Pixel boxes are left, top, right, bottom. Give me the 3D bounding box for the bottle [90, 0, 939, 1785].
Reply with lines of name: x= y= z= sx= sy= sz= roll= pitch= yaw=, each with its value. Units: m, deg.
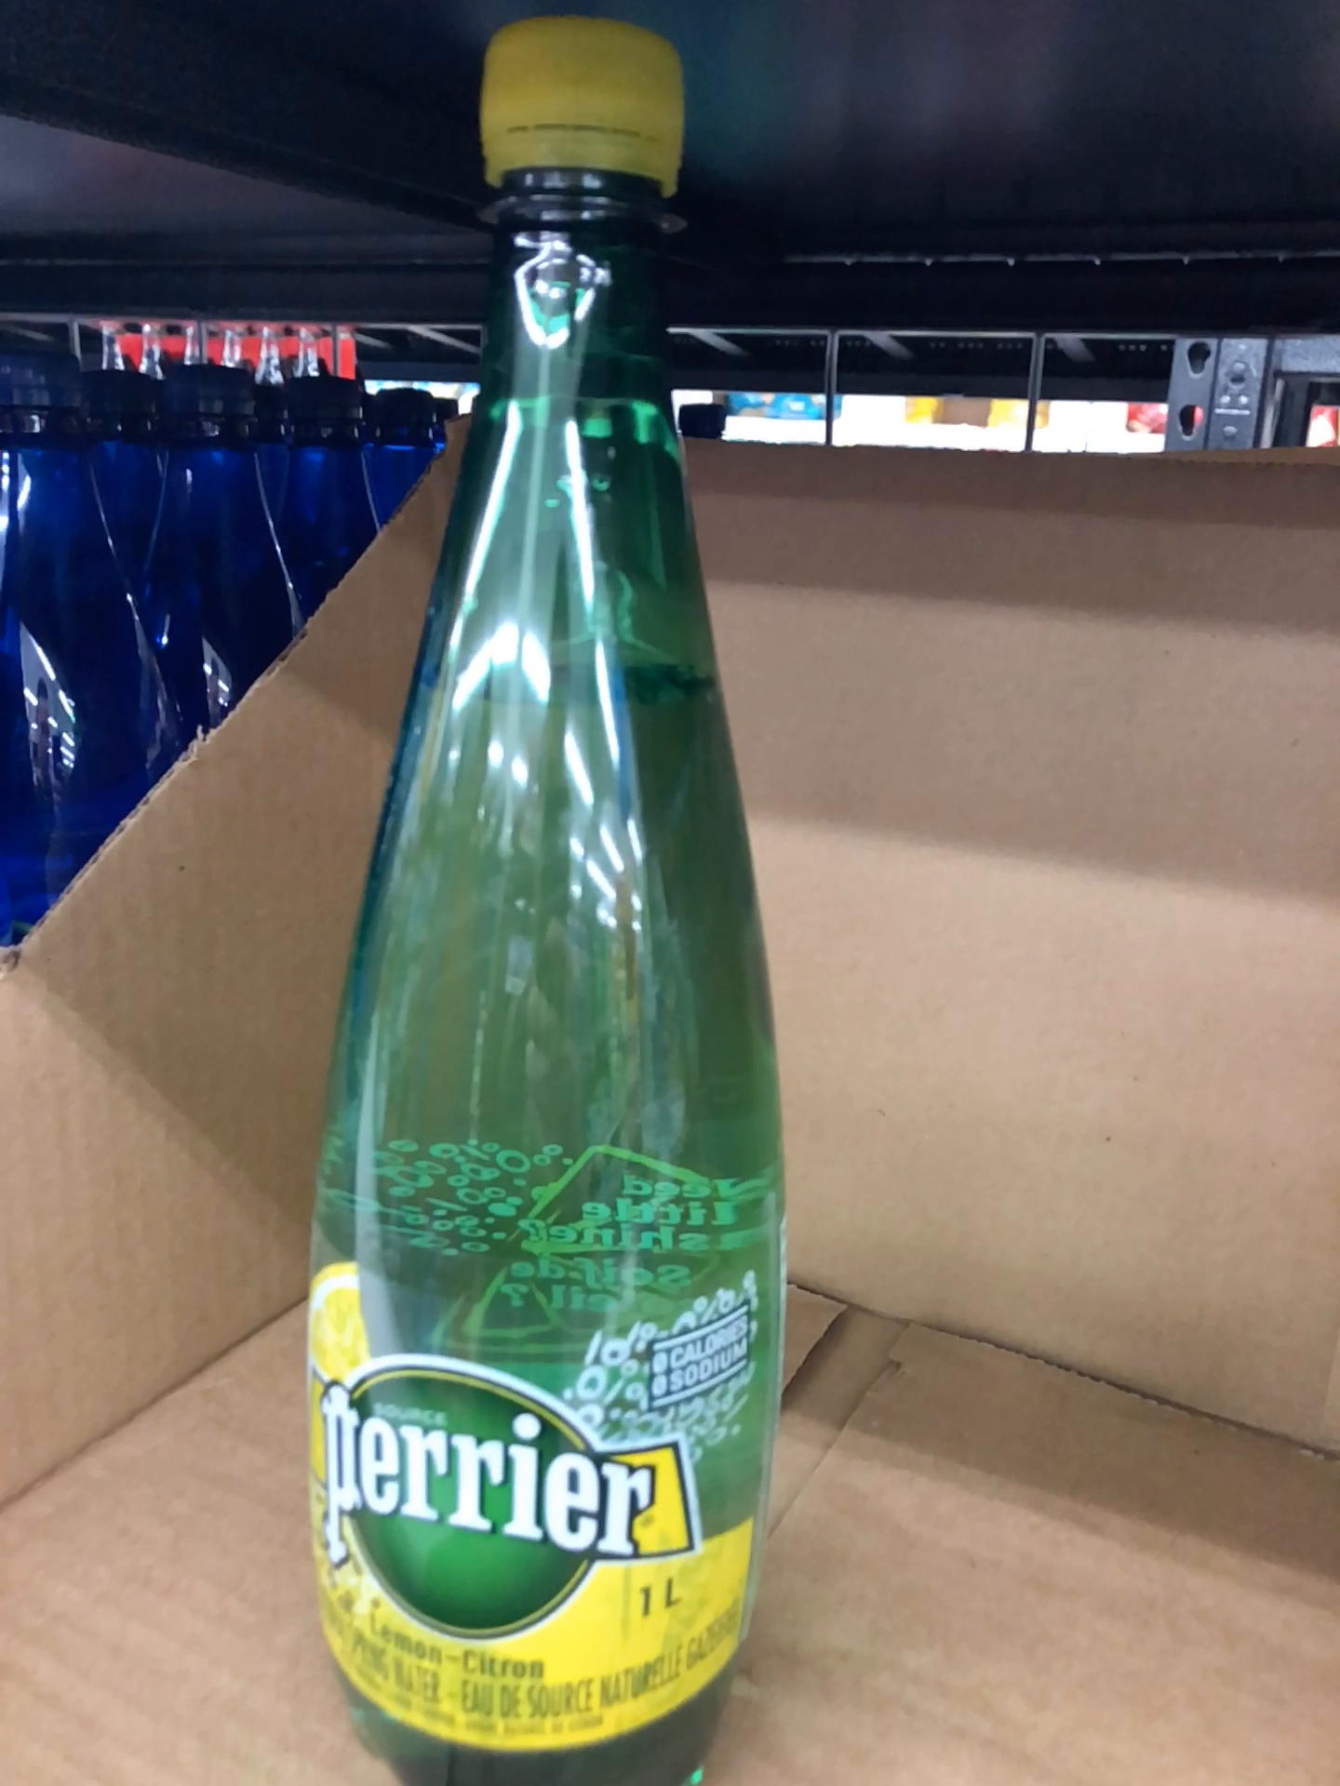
bottle: x=-0.024 y=0.016 z=0.262 sx=0.100 sy=0.318 sz=0.080 roll=8 pitch=17 yaw=19
